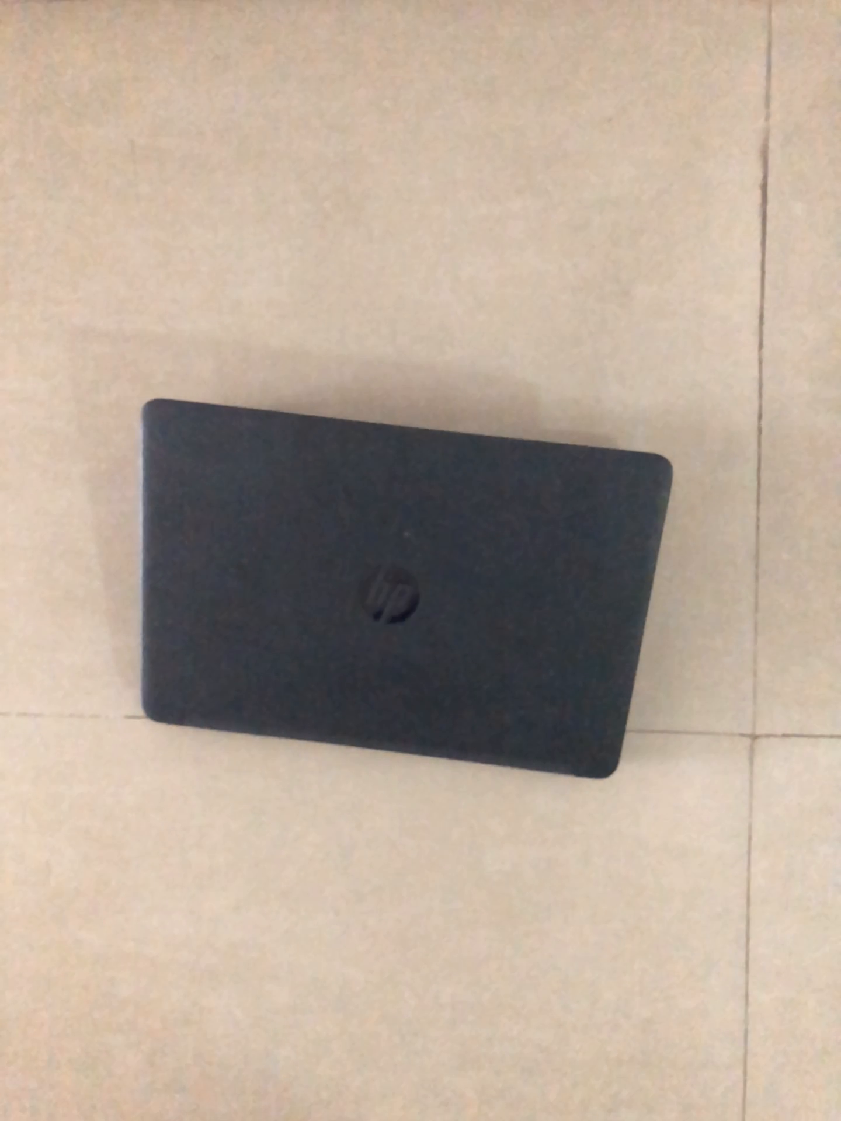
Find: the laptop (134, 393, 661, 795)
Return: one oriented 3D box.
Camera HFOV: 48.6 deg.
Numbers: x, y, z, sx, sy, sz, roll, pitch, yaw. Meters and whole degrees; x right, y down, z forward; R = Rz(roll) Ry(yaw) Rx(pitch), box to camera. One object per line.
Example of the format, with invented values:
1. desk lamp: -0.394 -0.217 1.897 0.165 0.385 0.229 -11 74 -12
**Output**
1. laptop: -0.016 0.021 0.620 0.304 0.085 0.214 7 93 2
